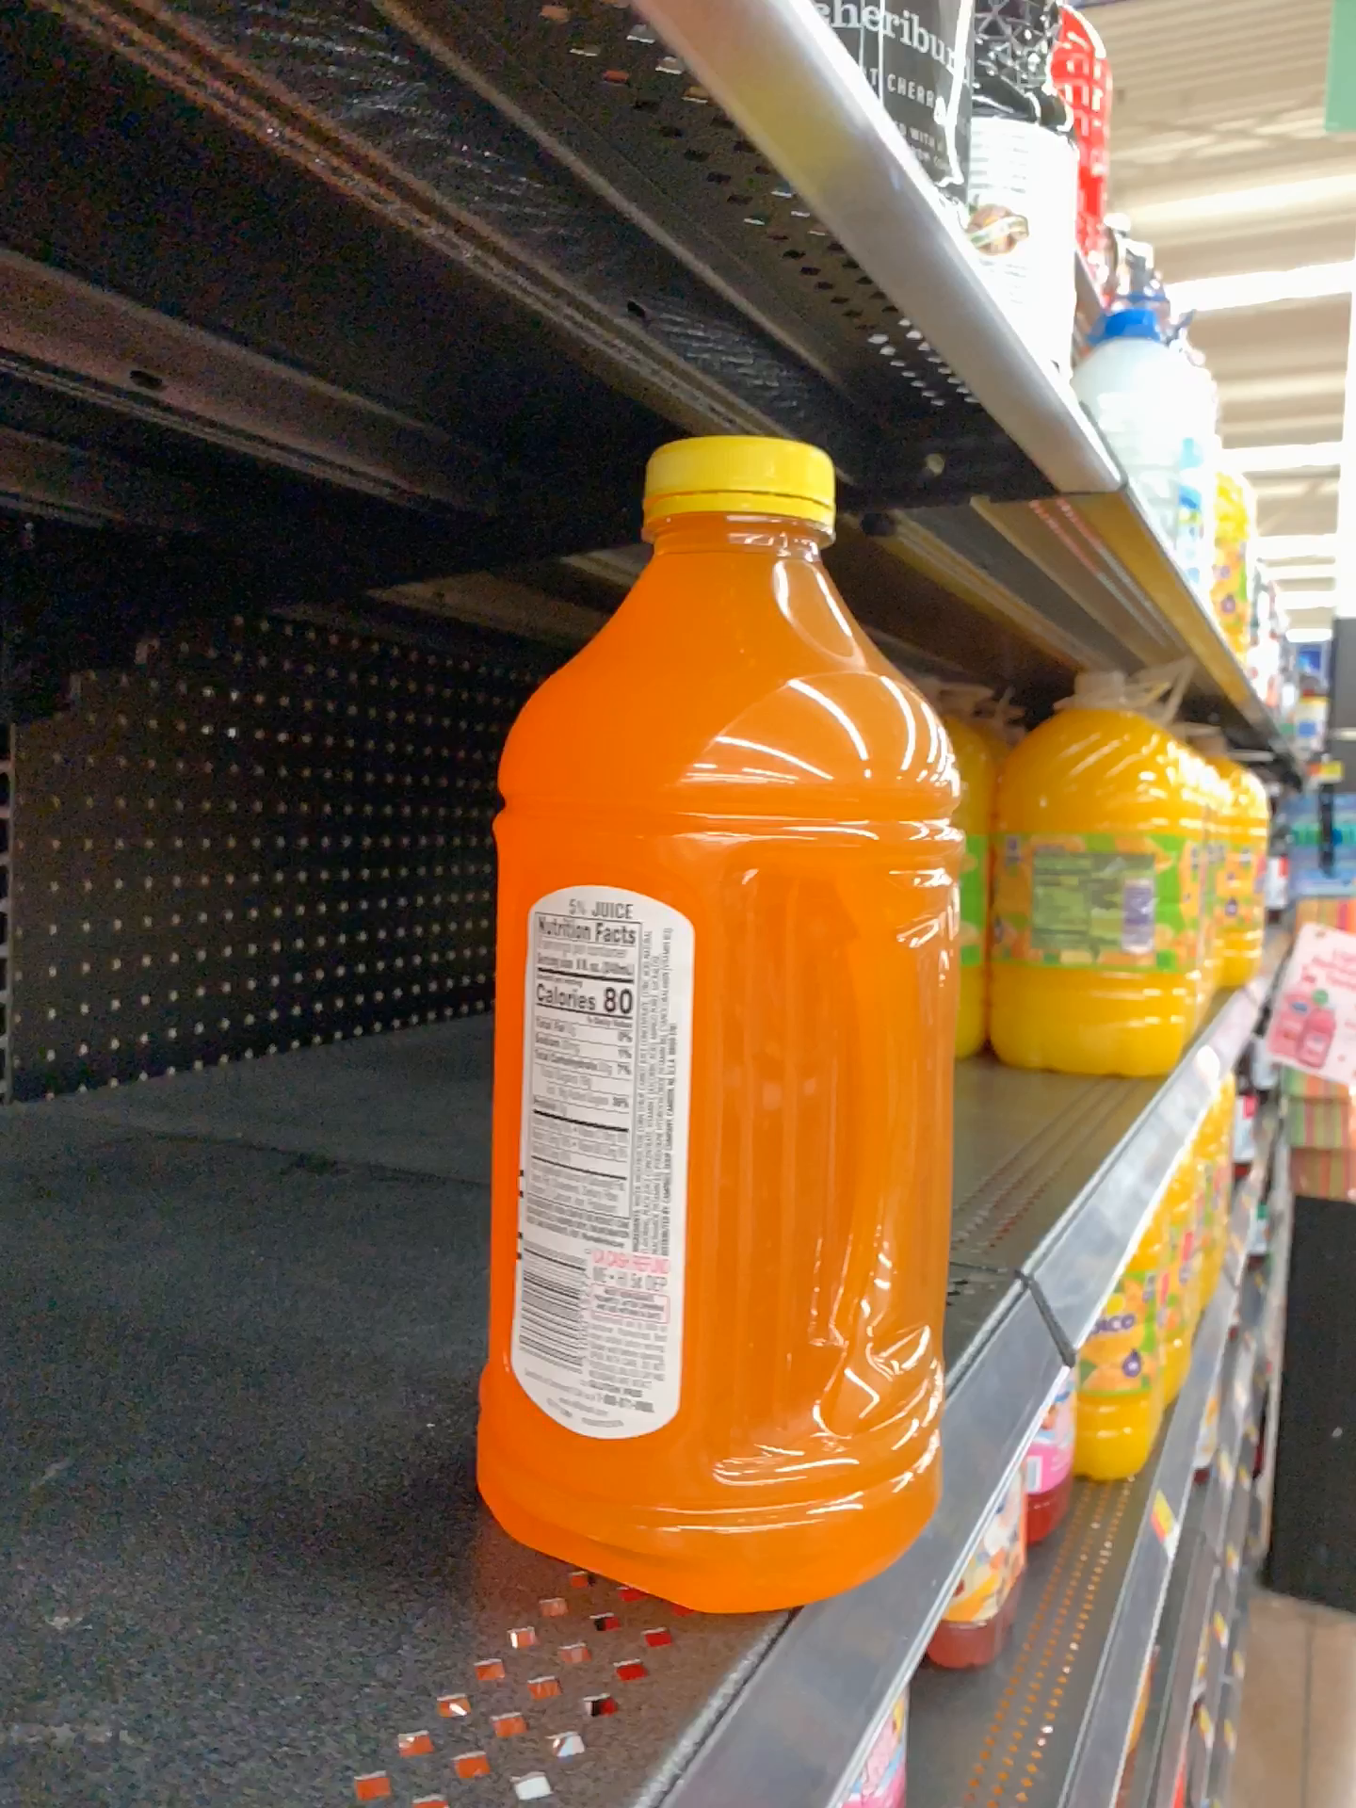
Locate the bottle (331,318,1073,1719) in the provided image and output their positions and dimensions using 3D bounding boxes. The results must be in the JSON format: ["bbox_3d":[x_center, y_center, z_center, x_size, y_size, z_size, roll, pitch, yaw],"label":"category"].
[{"bbox_3d":[0.011,0.017,0.343,0.128,0.260,0.125,2,4,0],"label":"bottle"}]
